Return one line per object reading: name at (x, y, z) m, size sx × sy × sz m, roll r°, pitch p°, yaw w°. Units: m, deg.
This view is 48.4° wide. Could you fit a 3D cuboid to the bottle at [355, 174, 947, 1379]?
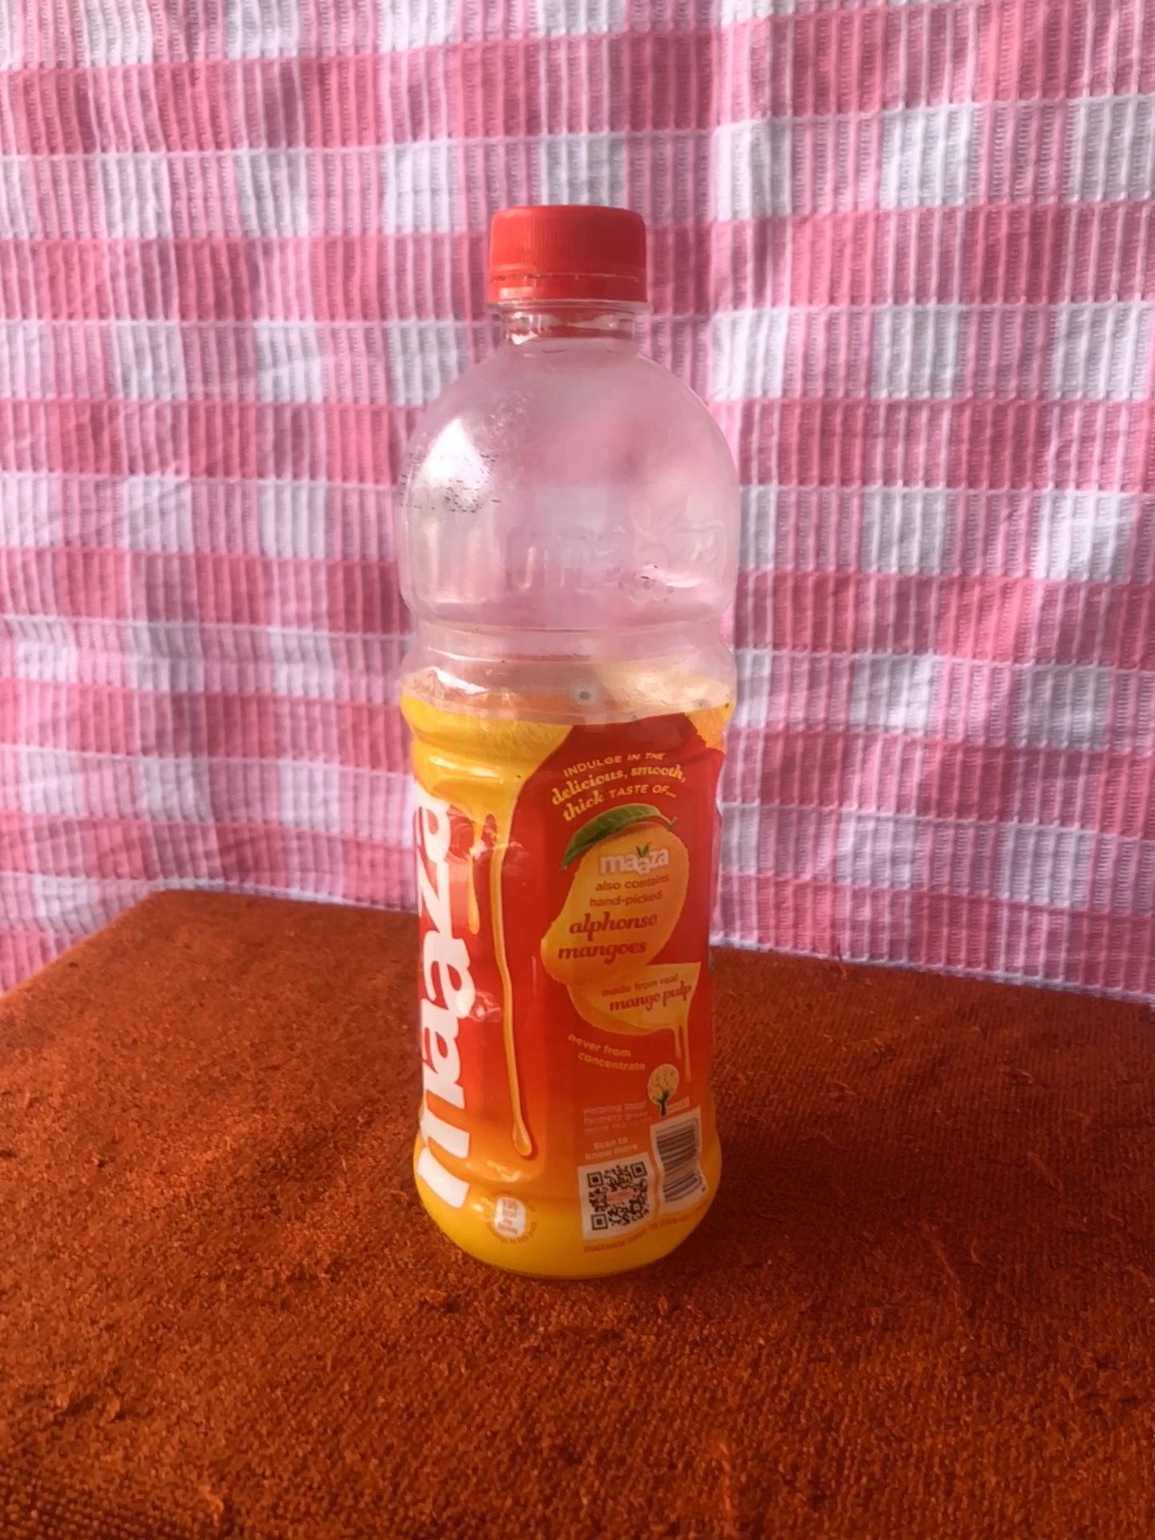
bottle at (0.010, -0.001, 0.263) m, size 0.070 × 0.209 × 0.080 m, roll -16°, pitch 24°, yaw -42°
